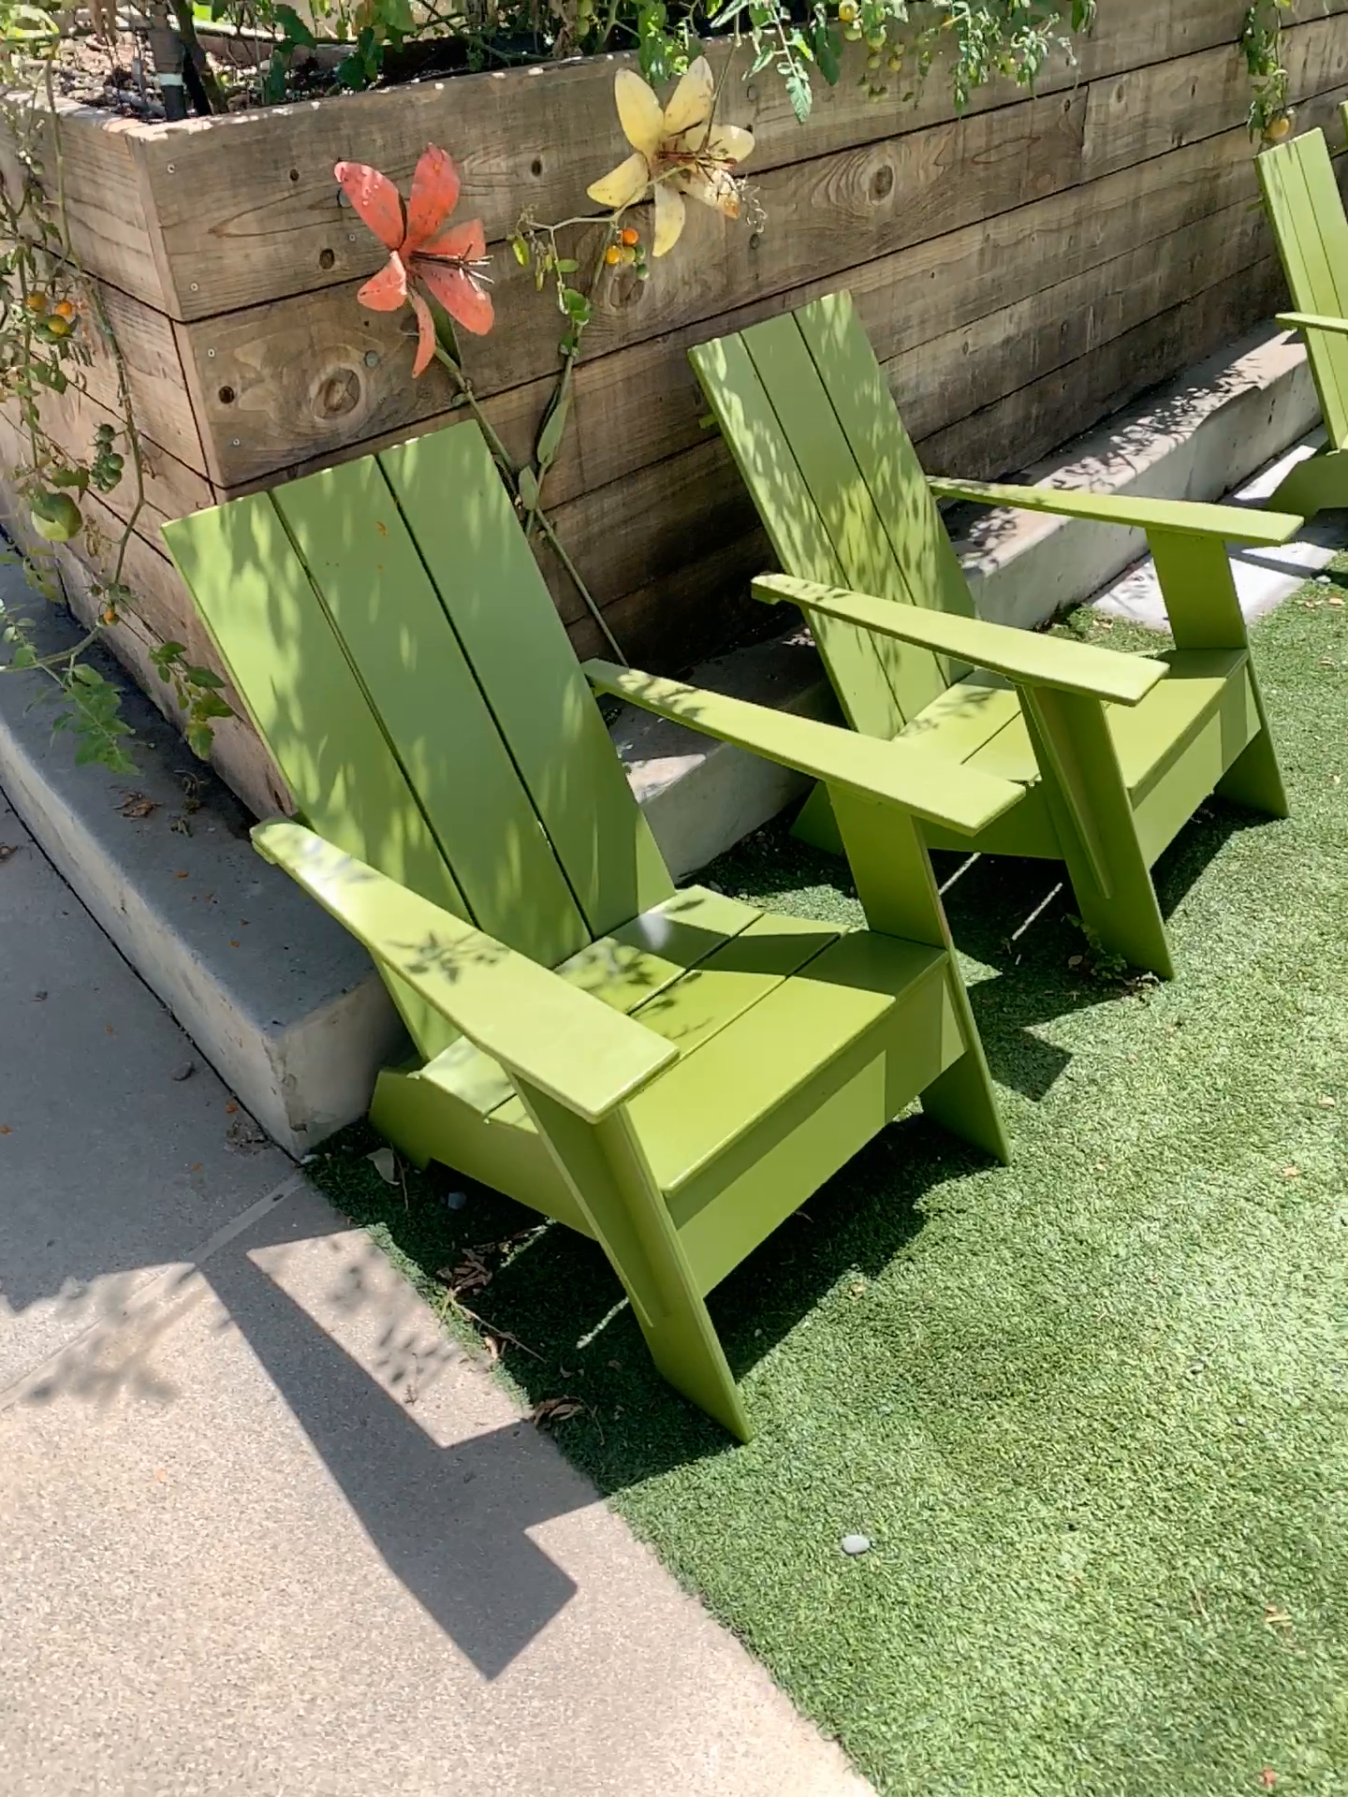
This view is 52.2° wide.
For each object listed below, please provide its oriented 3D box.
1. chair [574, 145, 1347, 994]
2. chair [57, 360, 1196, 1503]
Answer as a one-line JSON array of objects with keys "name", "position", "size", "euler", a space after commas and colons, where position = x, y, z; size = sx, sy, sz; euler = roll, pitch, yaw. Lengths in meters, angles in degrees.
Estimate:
[{"name": "chair", "position": [0.507, -0.532, 2.259], "size": [0.893, 0.985, 0.682], "euler": [14, 41, 45]}, {"name": "chair", "position": [-0.035, -0.068, 1.563], "size": [0.903, 0.835, 0.682], "euler": [22, 43, 38]}]
